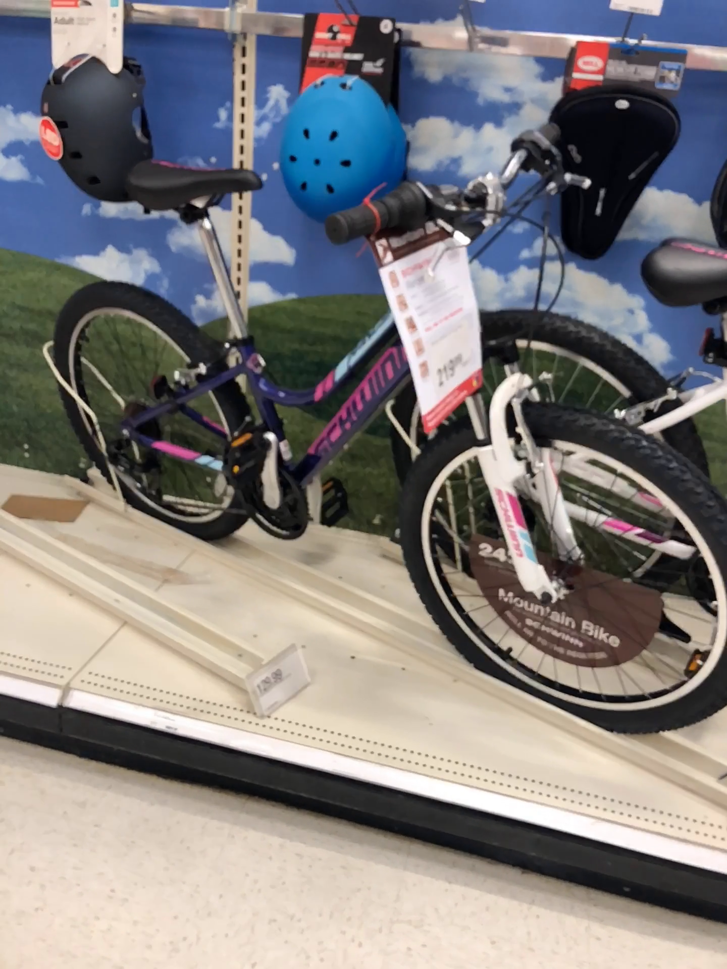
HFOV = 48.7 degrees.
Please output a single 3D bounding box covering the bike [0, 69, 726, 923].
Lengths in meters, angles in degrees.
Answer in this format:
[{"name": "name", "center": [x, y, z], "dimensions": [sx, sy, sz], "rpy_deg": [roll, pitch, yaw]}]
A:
[{"name": "bike", "center": [0.003, -0.164, 1.252], "dimensions": [1.224, 0.799, 0.569], "rpy_deg": [23, 29, 37]}]
